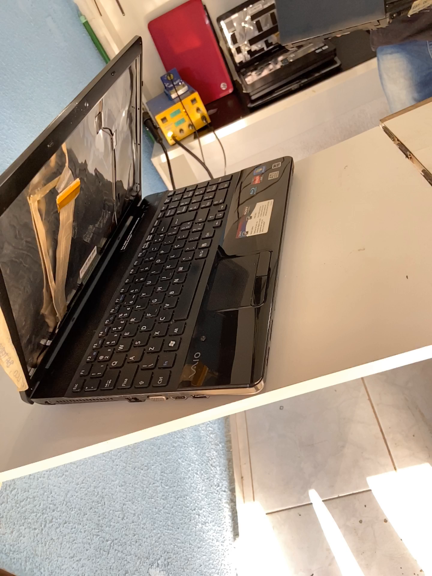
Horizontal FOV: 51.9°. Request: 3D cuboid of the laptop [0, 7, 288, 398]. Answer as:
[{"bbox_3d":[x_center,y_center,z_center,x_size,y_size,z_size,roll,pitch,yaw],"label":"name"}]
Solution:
[{"bbox_3d":[-0.087,-0.100,0.471,0.242,0.193,0.366,-11,41,25],"label":"laptop"}]
